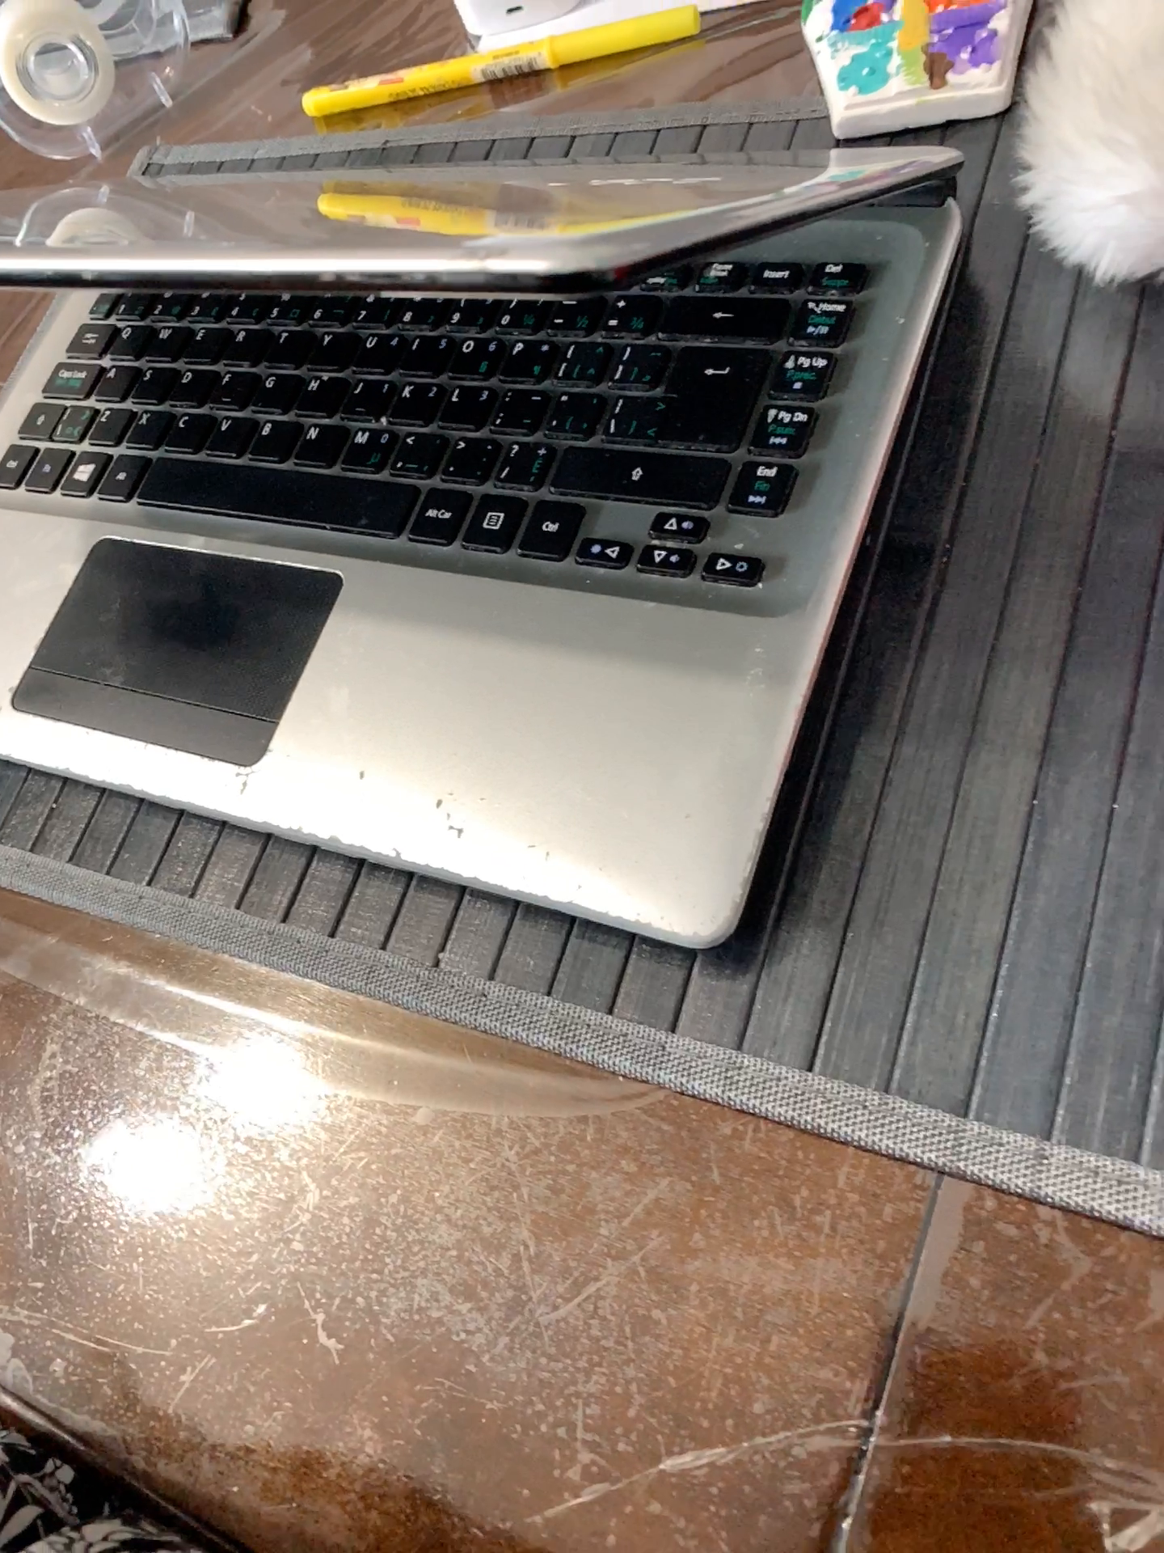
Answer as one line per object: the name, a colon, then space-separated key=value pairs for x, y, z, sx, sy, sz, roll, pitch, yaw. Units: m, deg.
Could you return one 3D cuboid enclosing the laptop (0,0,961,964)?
laptop: x=-0.104 y=-0.126 z=0.326 sx=0.345 sy=0.145 sz=0.236 roll=12 pitch=70 yaw=26
